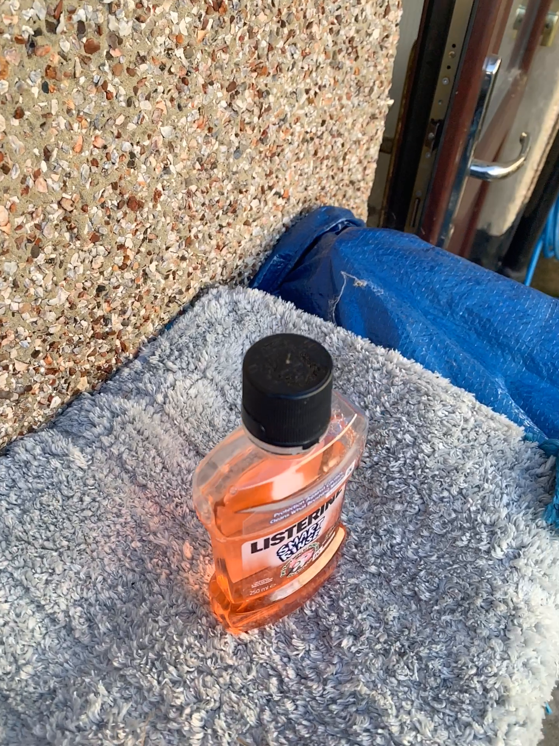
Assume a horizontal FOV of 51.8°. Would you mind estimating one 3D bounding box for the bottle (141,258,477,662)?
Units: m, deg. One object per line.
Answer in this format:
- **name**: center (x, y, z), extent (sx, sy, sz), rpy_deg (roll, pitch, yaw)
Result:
- **bottle**: center (0.008, 0.046, 0.234), extent (0.090, 0.158, 0.050), rpy_deg (-29, 57, -24)
